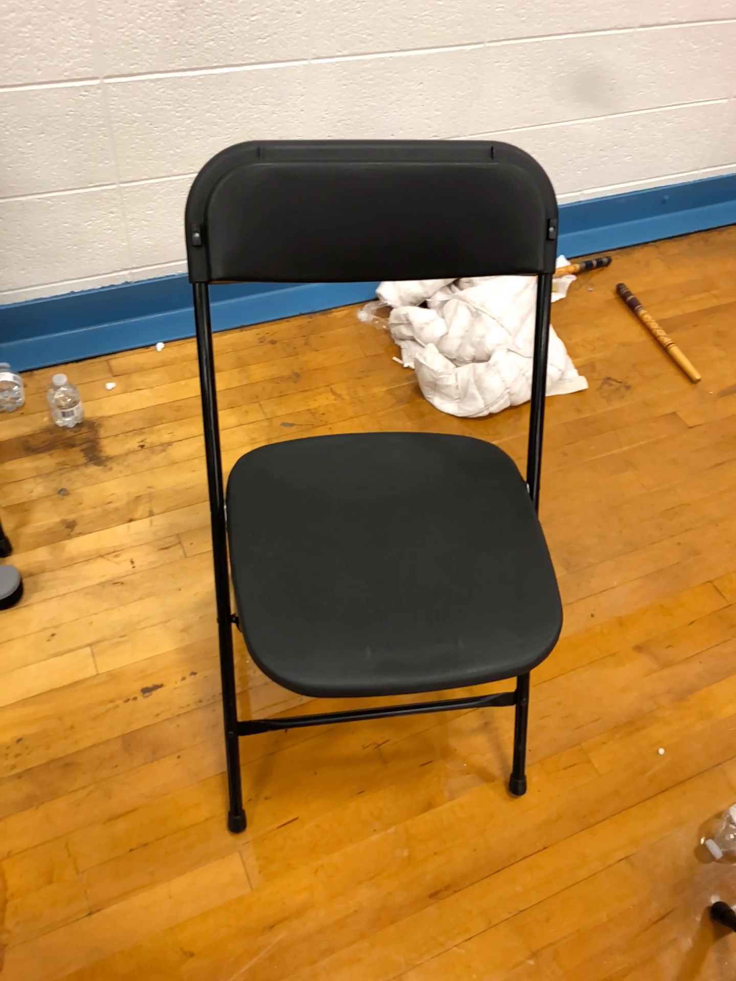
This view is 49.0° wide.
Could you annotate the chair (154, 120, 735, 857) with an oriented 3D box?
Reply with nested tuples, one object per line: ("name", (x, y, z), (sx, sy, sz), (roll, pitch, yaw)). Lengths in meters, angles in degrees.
("chair", (0.021, 0.026, 0.994), (0.471, 0.720, 0.526), (-4, 49, -10))

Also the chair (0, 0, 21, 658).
("chair", (-0.882, -0.269, 1.142), (0.481, 0.790, 0.546), (-16, 52, -20))
